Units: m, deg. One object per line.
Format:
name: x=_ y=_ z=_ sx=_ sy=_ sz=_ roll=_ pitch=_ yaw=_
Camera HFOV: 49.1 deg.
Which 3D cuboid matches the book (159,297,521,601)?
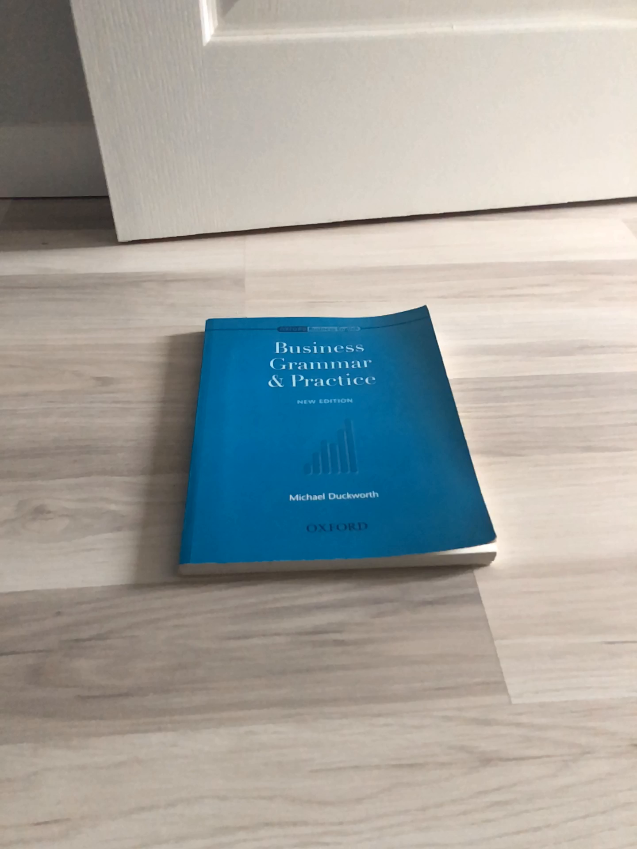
book: x=0.007 y=-0.003 z=0.565 sx=0.230 sy=0.040 sz=0.301 roll=-1 pitch=43 yaw=-3
